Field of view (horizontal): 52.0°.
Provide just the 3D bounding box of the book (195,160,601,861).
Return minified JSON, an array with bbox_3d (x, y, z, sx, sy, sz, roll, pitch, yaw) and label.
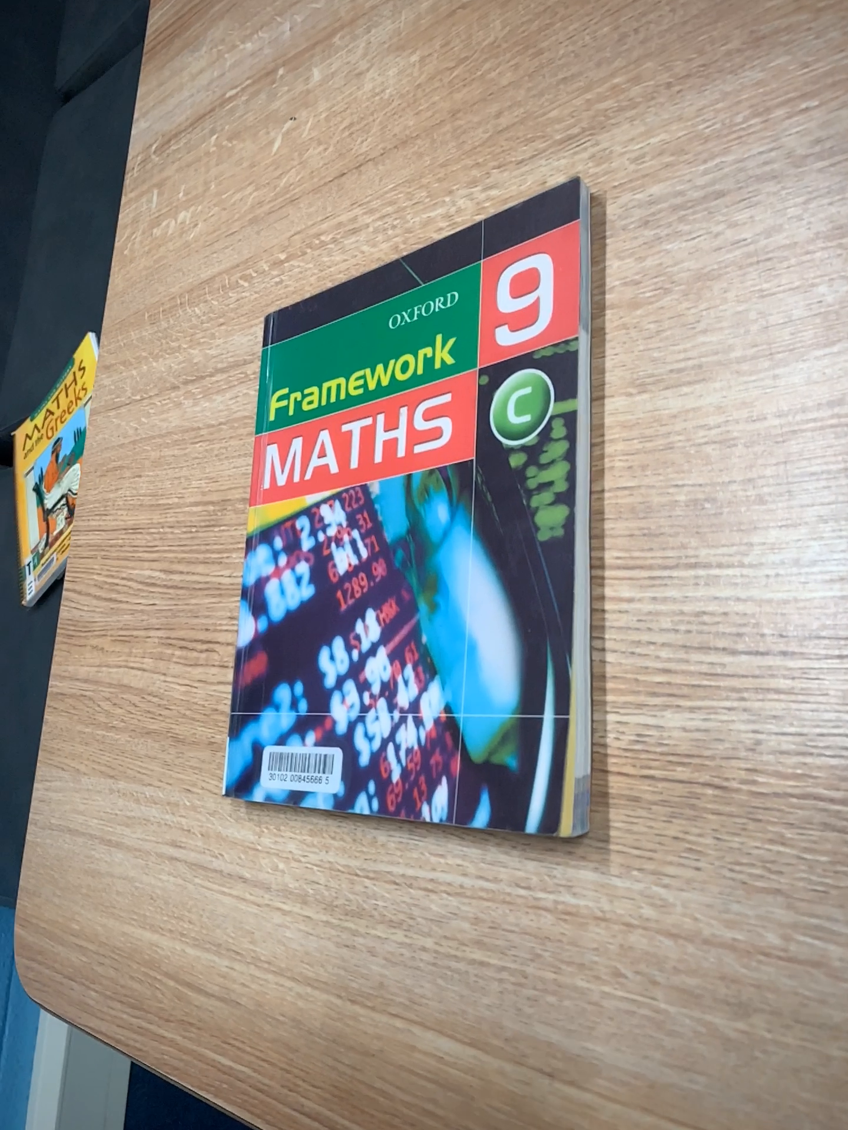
[{"bbox_3d":[-0.018,-0.017,0.359,0.191,0.020,0.244,-8,74,39],"label":"book"}]
